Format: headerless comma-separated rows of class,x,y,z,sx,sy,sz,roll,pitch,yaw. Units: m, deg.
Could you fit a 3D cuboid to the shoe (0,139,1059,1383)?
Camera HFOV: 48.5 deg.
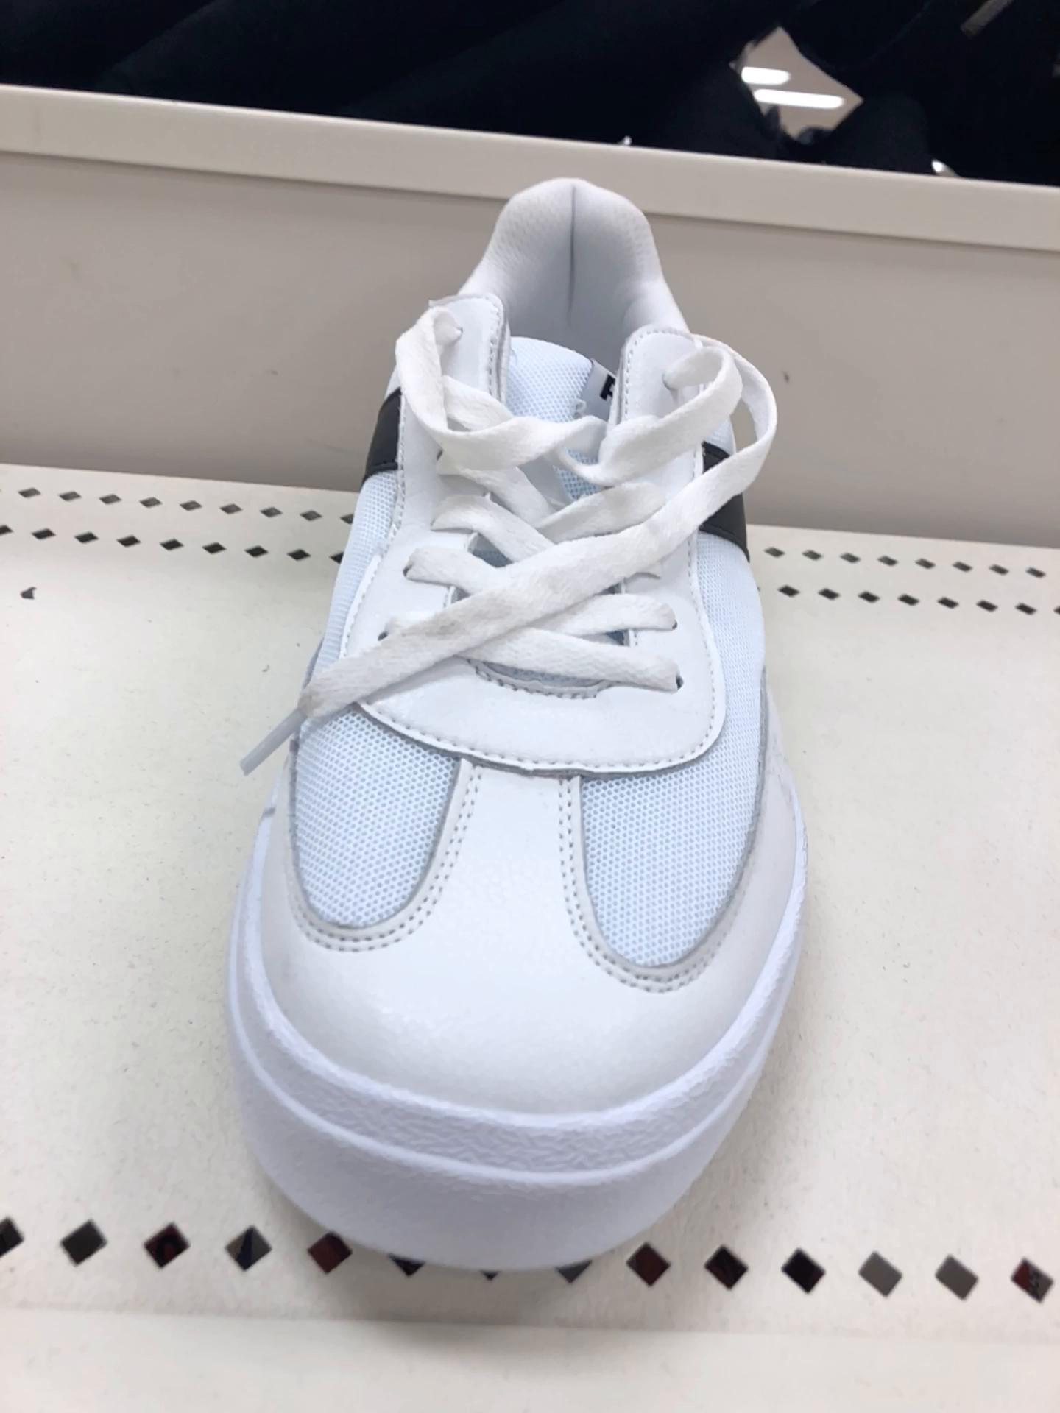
shoe,0.015,-0.059,0.293,0.113,0.129,0.373,6,27,2
